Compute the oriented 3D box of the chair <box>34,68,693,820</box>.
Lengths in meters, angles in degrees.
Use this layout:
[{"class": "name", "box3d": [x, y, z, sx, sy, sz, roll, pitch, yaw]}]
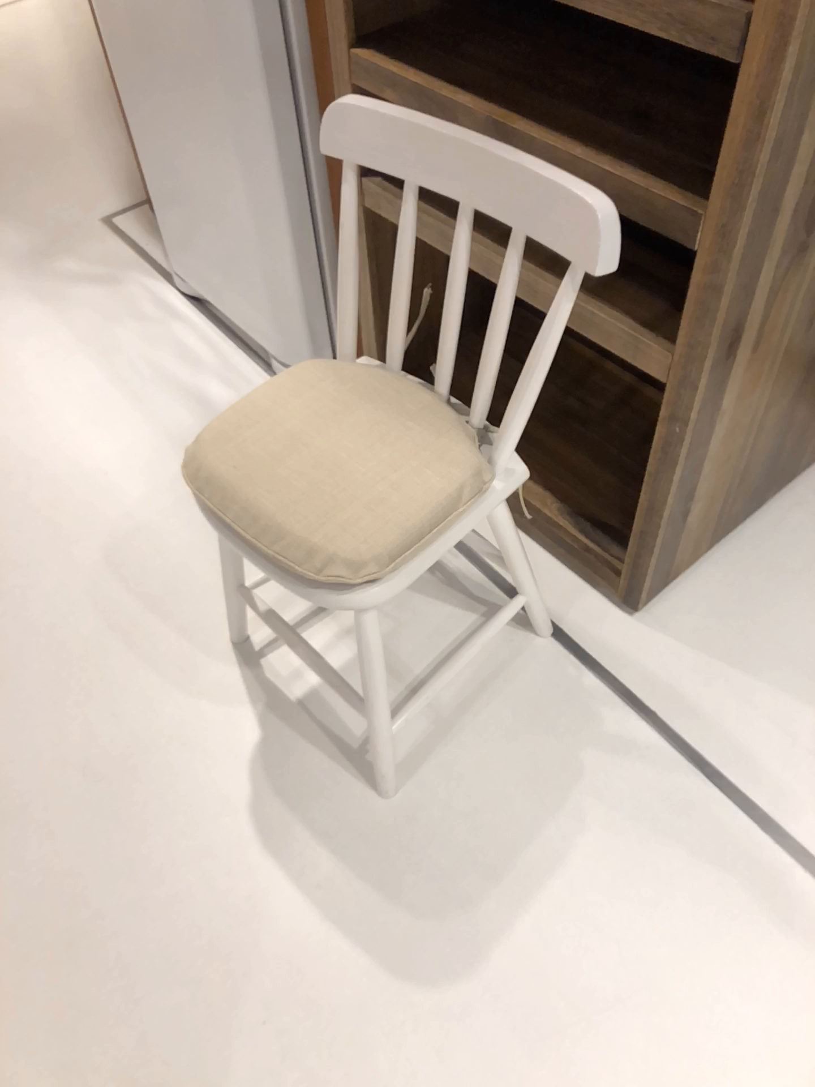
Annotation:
[{"class": "chair", "box3d": [-0.032, -0.099, 1.173, 0.481, 0.725, 0.452, -37, 58, -24]}]
